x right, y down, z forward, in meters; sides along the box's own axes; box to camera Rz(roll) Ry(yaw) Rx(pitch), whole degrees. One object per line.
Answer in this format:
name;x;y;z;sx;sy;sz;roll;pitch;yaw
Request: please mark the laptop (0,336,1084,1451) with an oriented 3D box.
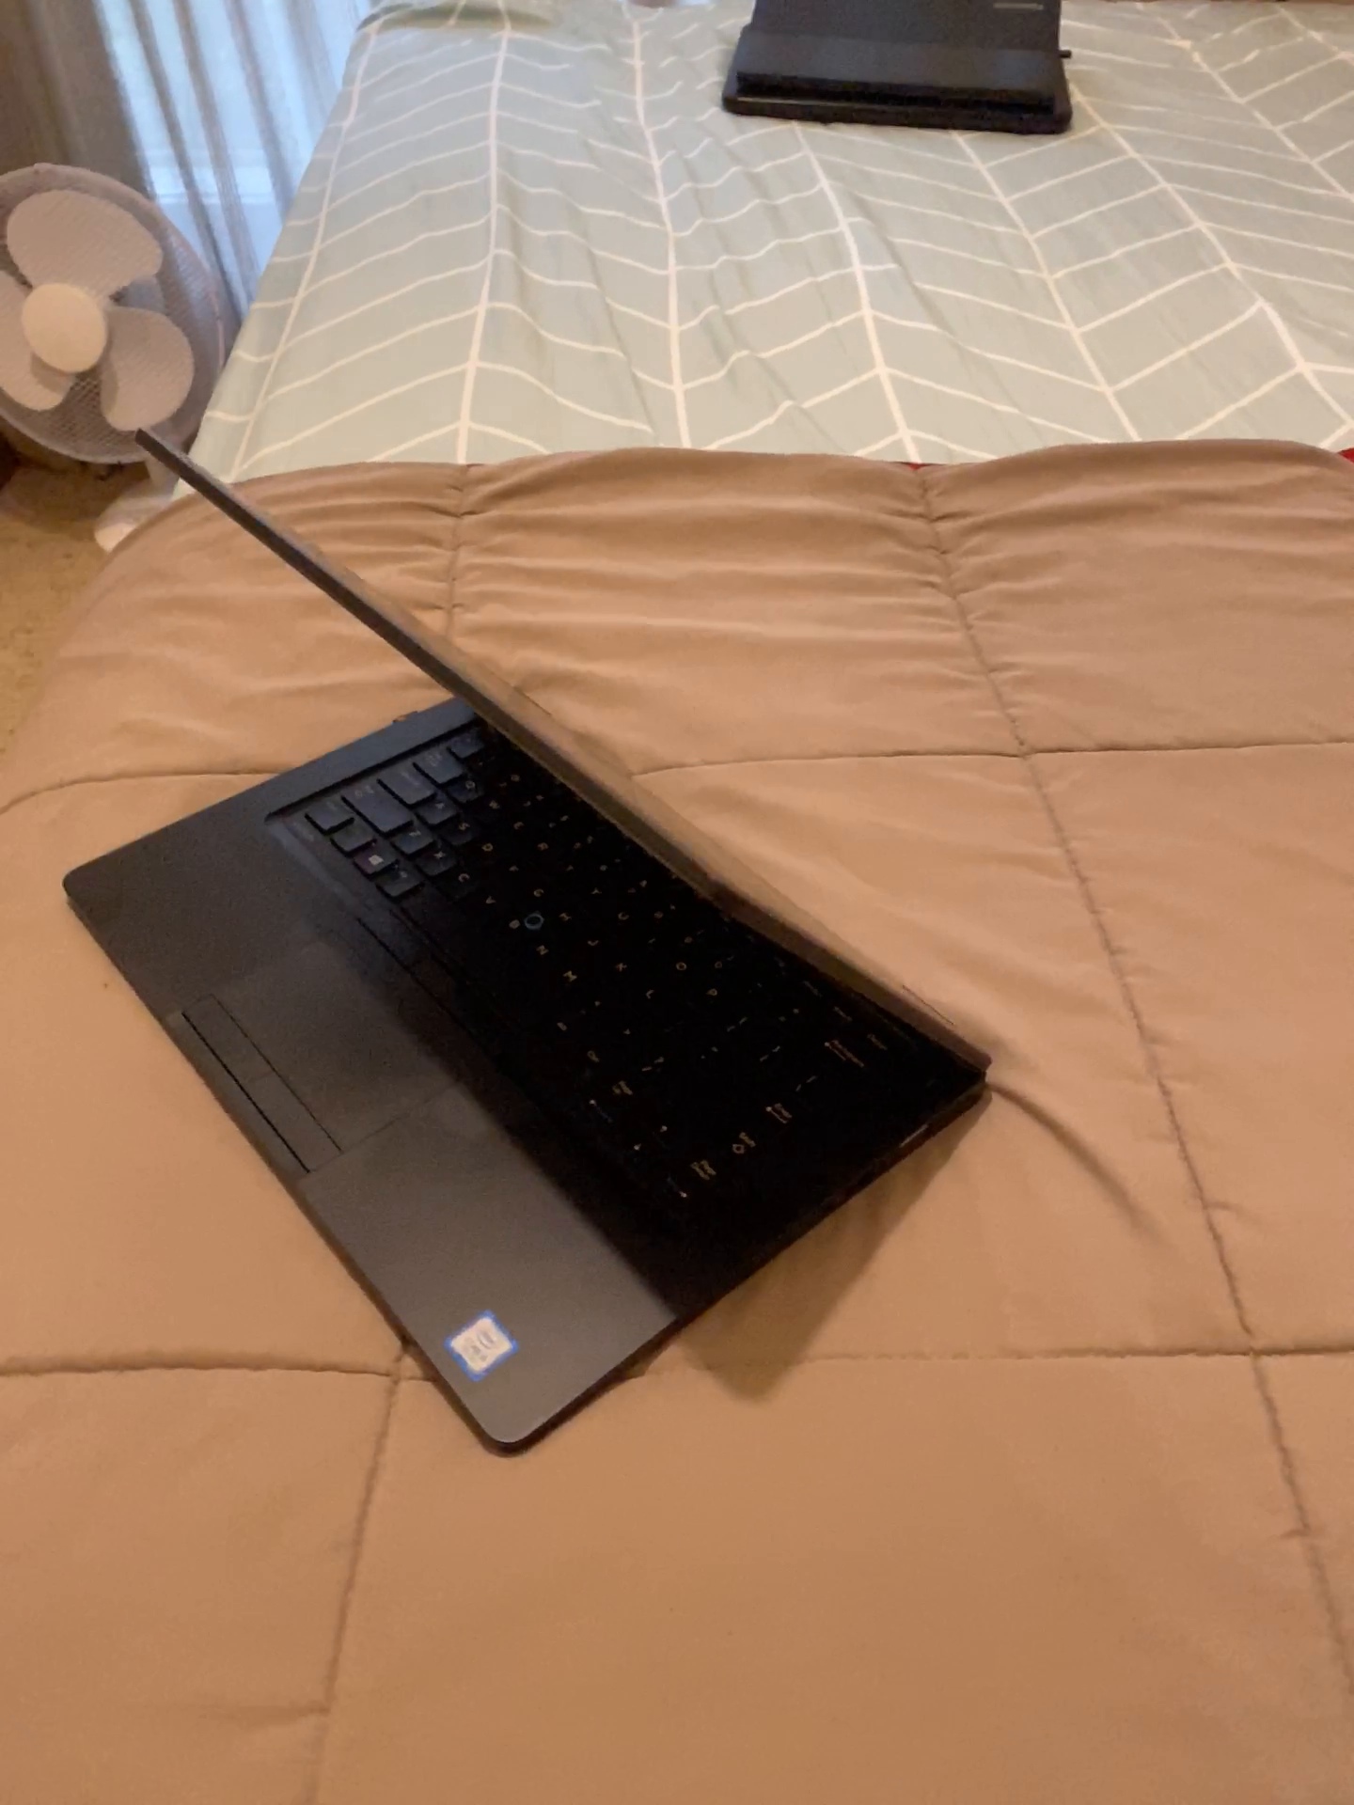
laptop;-0.076;-0.036;0.501;0.227;0.183;0.335;-31;52;-28
